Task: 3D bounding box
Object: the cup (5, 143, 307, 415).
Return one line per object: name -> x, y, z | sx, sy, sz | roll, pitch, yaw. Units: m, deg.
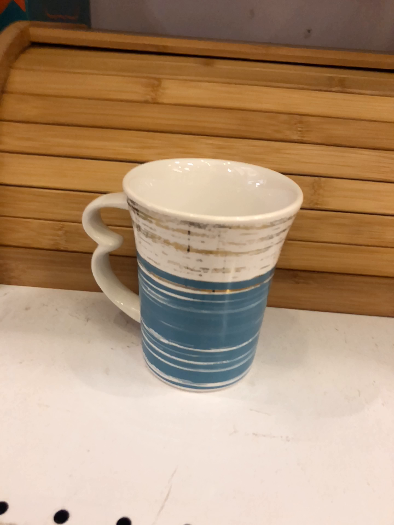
cup -> -0.013, 0.000, 0.229 | 0.120, 0.089, 0.091 | 10, 29, 11
